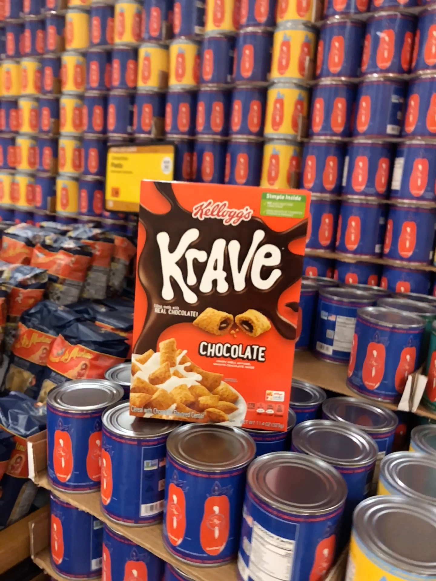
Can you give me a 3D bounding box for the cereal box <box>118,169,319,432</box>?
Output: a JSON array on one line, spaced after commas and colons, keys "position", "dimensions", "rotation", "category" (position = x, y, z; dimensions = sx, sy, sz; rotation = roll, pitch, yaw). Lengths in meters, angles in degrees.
[{"position": [-0.004, 0.012, 0.582], "dimensions": [0.210, 0.289, 0.060], "rotation": [5, 10, 3], "category": "cereal box"}]
